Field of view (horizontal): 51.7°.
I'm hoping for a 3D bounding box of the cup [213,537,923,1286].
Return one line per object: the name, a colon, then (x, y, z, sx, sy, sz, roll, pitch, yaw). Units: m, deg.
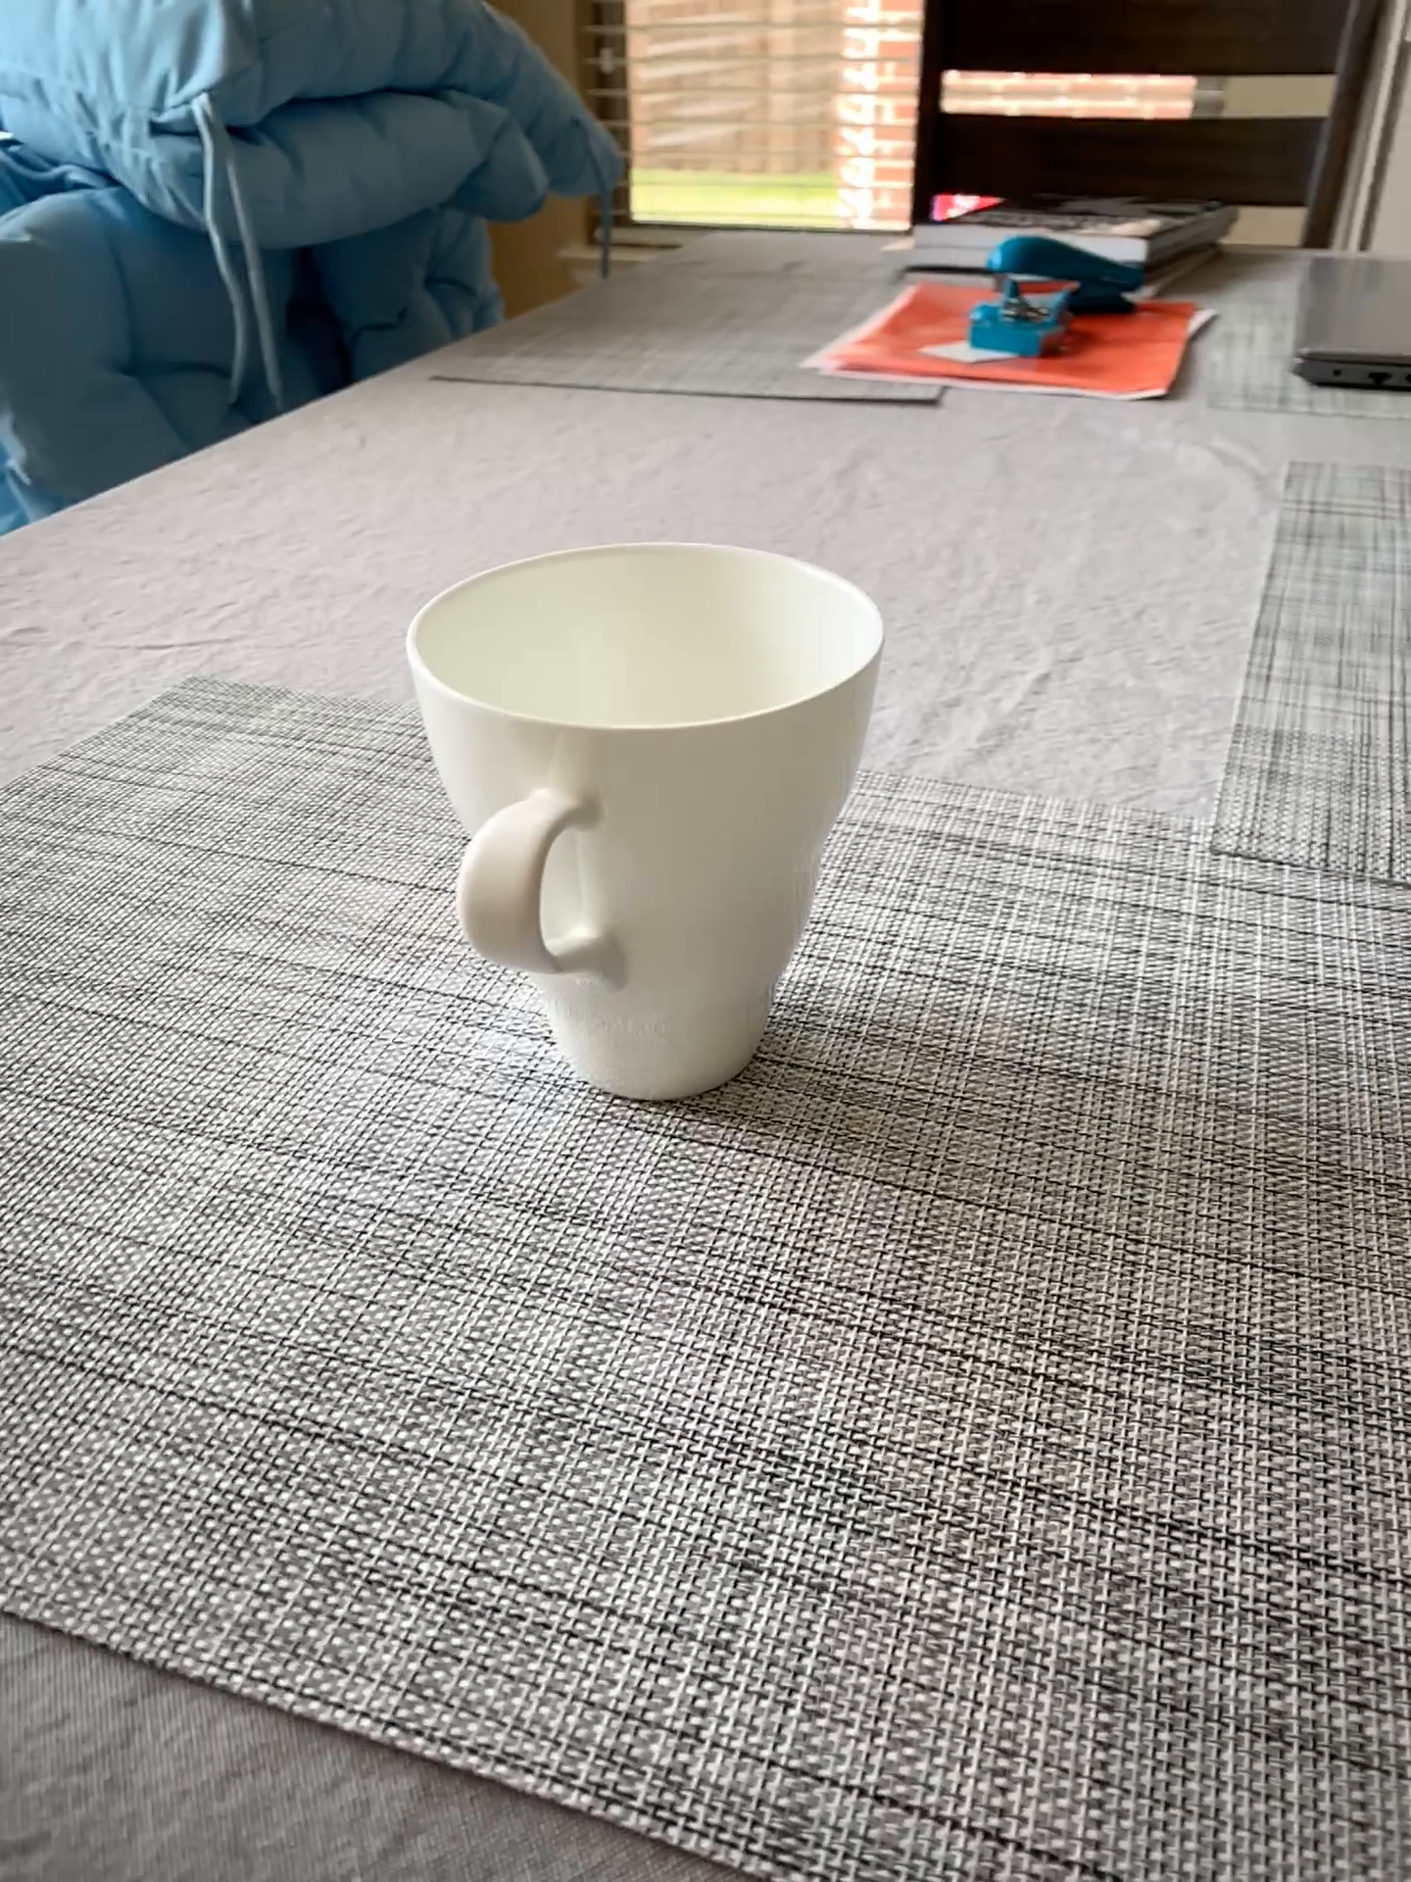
cup: (-0.017, -0.015, 0.310, 0.098, 0.098, 0.121, 9, 34, 17)
